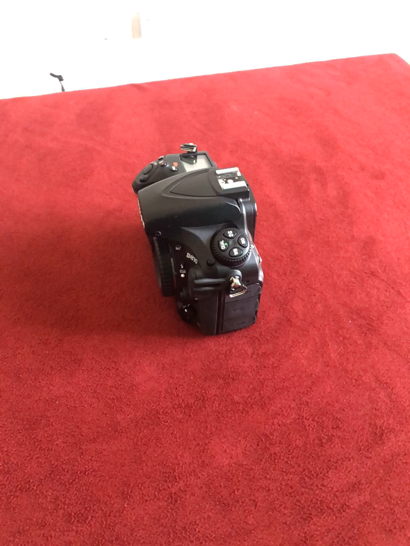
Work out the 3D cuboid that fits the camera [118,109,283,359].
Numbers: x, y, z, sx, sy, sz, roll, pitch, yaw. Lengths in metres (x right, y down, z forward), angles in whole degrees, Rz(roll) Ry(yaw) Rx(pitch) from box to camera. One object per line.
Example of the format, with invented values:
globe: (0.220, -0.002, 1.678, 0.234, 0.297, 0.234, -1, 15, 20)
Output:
camera: (-0.010, -0.033, 0.377, 0.083, 0.129, 0.146, -13, 50, -10)
